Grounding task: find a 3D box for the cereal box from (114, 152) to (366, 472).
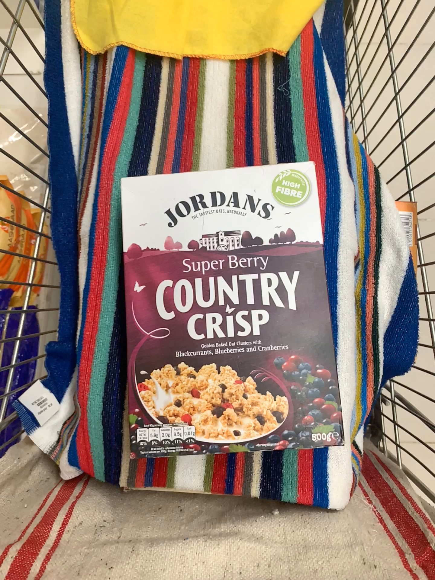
[{"bbox_3d":[0.012,0.017,0.381,0.180,0.060,0.240,-5,80,4],"label":"cereal box"}]
